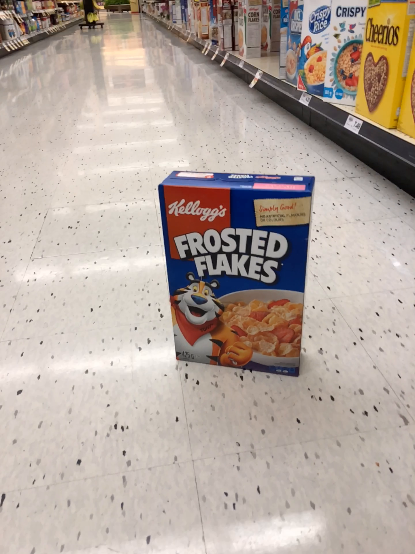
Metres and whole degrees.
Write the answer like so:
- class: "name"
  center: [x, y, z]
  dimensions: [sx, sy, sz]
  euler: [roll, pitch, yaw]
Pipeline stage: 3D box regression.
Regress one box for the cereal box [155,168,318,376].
- class: "cereal box"
  center: [0.044, -0.002, 0.657]
  dimensions: [0.200, 0.288, 0.070]
  euler: [5, 32, 13]
